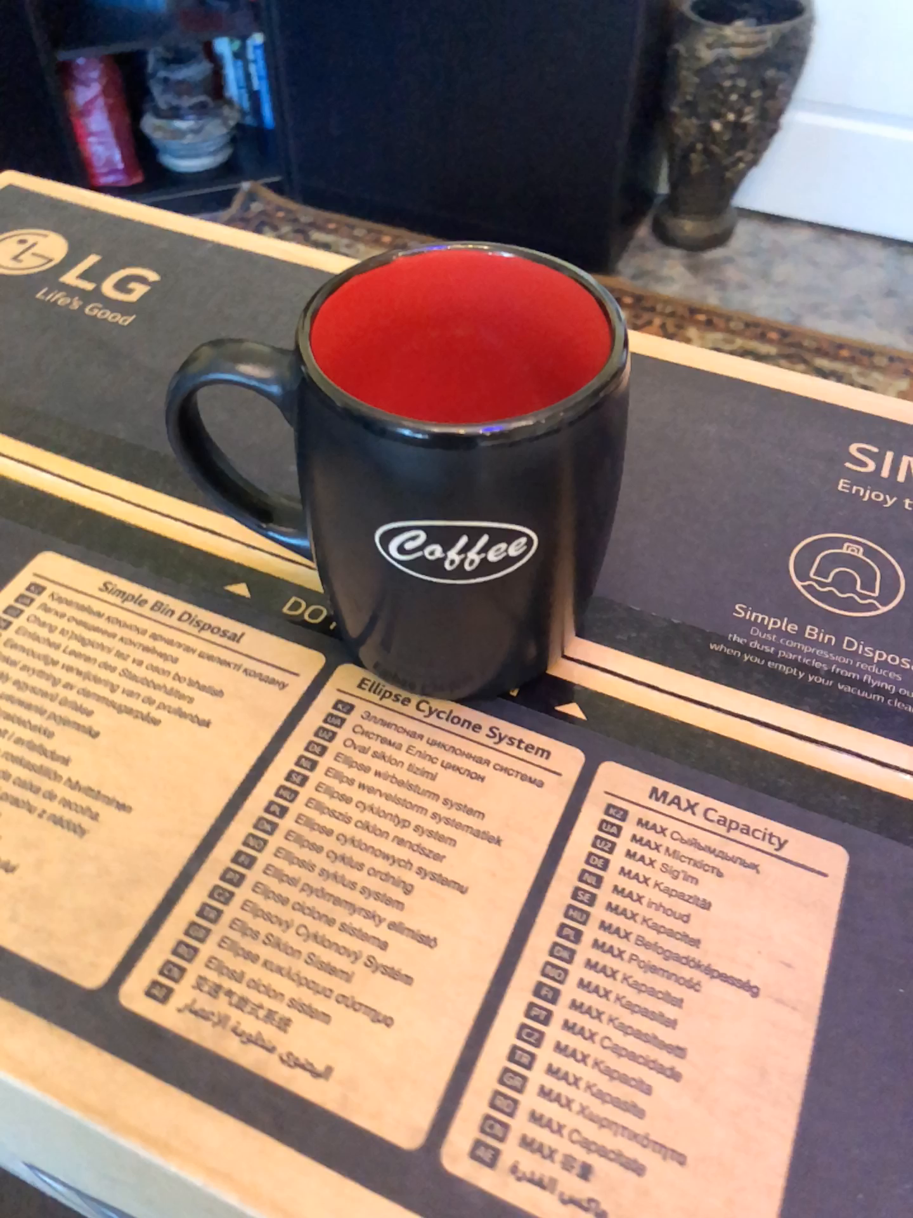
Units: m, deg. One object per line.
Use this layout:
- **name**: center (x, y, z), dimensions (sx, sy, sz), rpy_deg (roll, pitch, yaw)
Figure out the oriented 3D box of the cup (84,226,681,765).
- **cup**: center (-0.011, -0.031, 0.269), dimensions (0.120, 0.090, 0.090), rpy_deg (9, 50, 7)
